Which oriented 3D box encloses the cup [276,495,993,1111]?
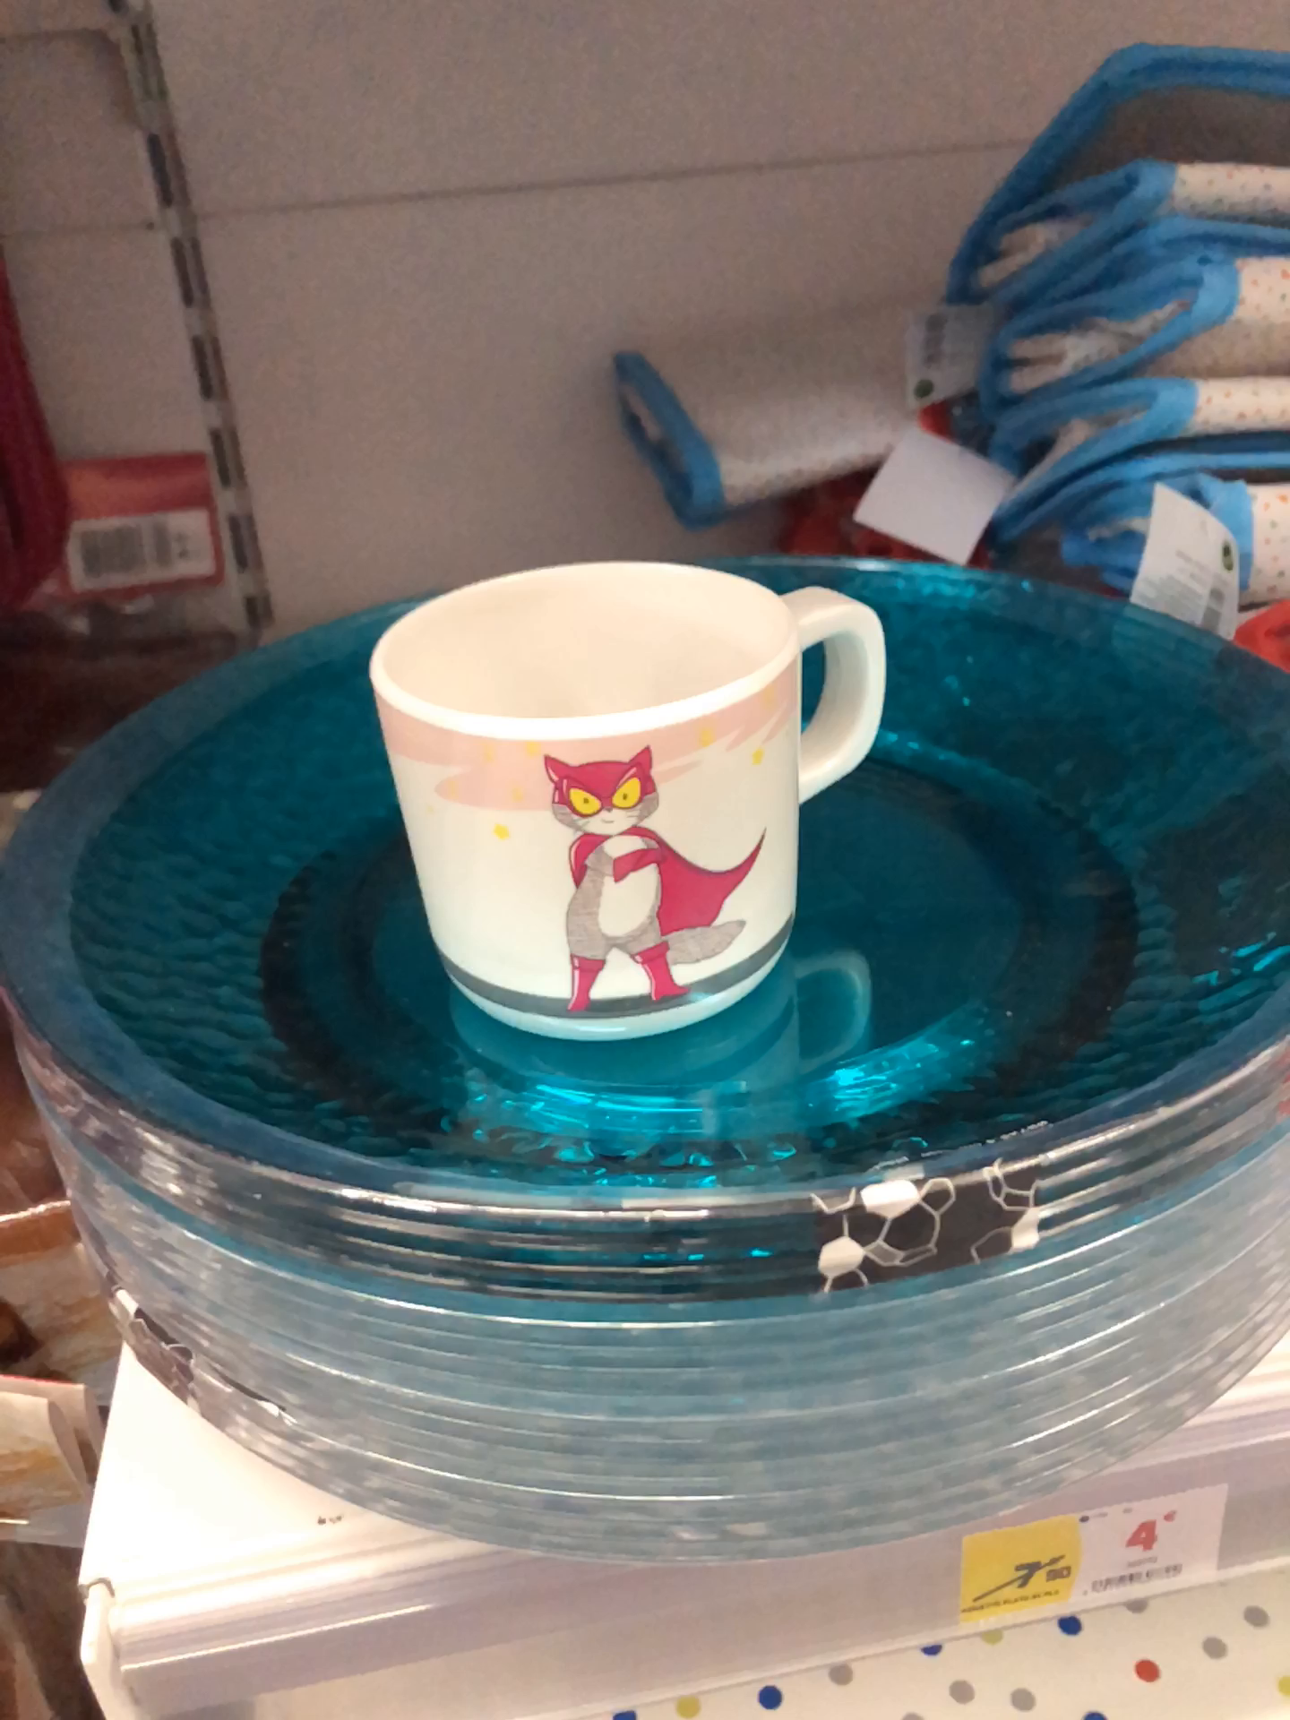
[{"bbox_3d":[0.000,-0.019,0.269,0.103,0.064,0.075,-24,35,-32],"label":"cup"}]
